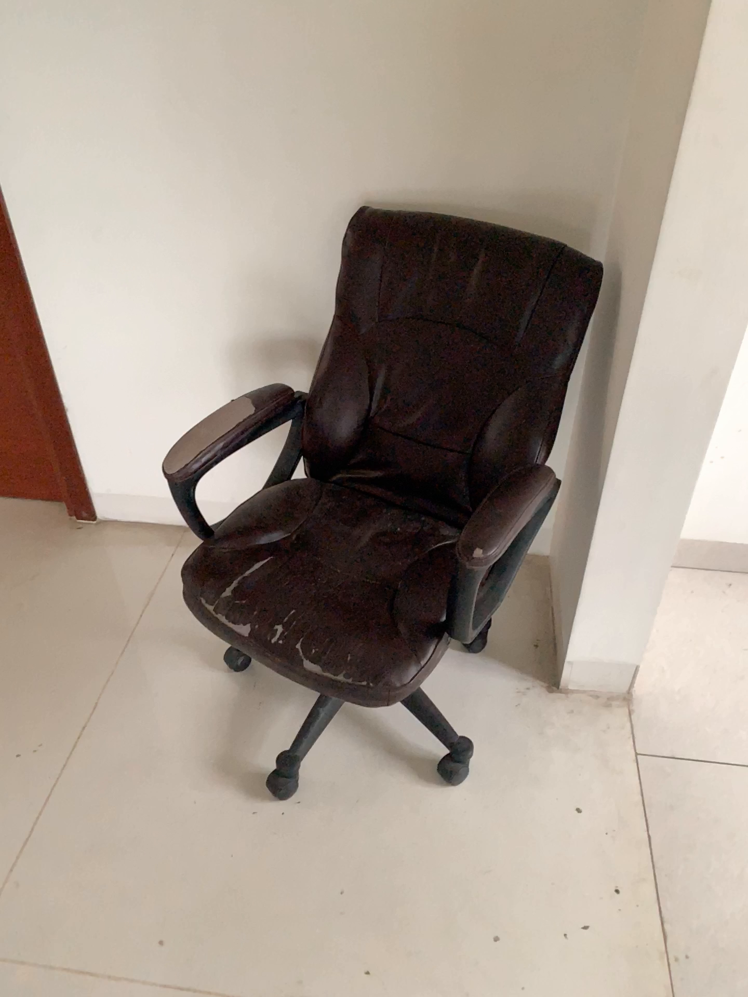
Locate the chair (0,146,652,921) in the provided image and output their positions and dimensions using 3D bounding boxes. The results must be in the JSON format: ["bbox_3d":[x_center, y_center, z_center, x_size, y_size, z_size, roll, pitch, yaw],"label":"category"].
[{"bbox_3d":[-0.052,0.010,1.406,0.701,0.996,0.792,20,42,24],"label":"chair"}]
